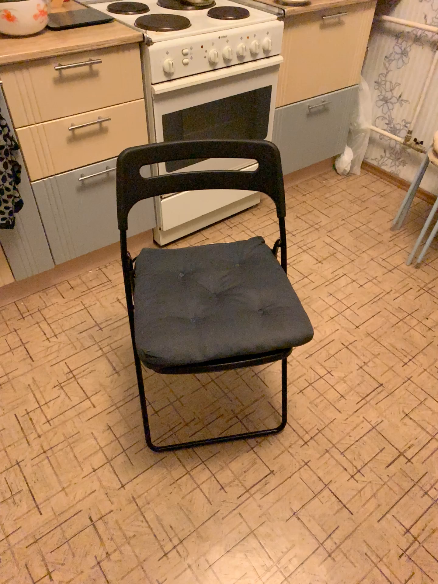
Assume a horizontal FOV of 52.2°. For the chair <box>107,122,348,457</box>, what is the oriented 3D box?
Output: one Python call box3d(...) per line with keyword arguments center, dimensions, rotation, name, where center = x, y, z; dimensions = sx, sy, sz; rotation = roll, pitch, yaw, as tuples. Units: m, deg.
box3d(center=(-0.027, 0.016, 1.257), dimensions=(0.440, 0.776, 0.482), rotation=(-7, 44, -9), name="chair")
